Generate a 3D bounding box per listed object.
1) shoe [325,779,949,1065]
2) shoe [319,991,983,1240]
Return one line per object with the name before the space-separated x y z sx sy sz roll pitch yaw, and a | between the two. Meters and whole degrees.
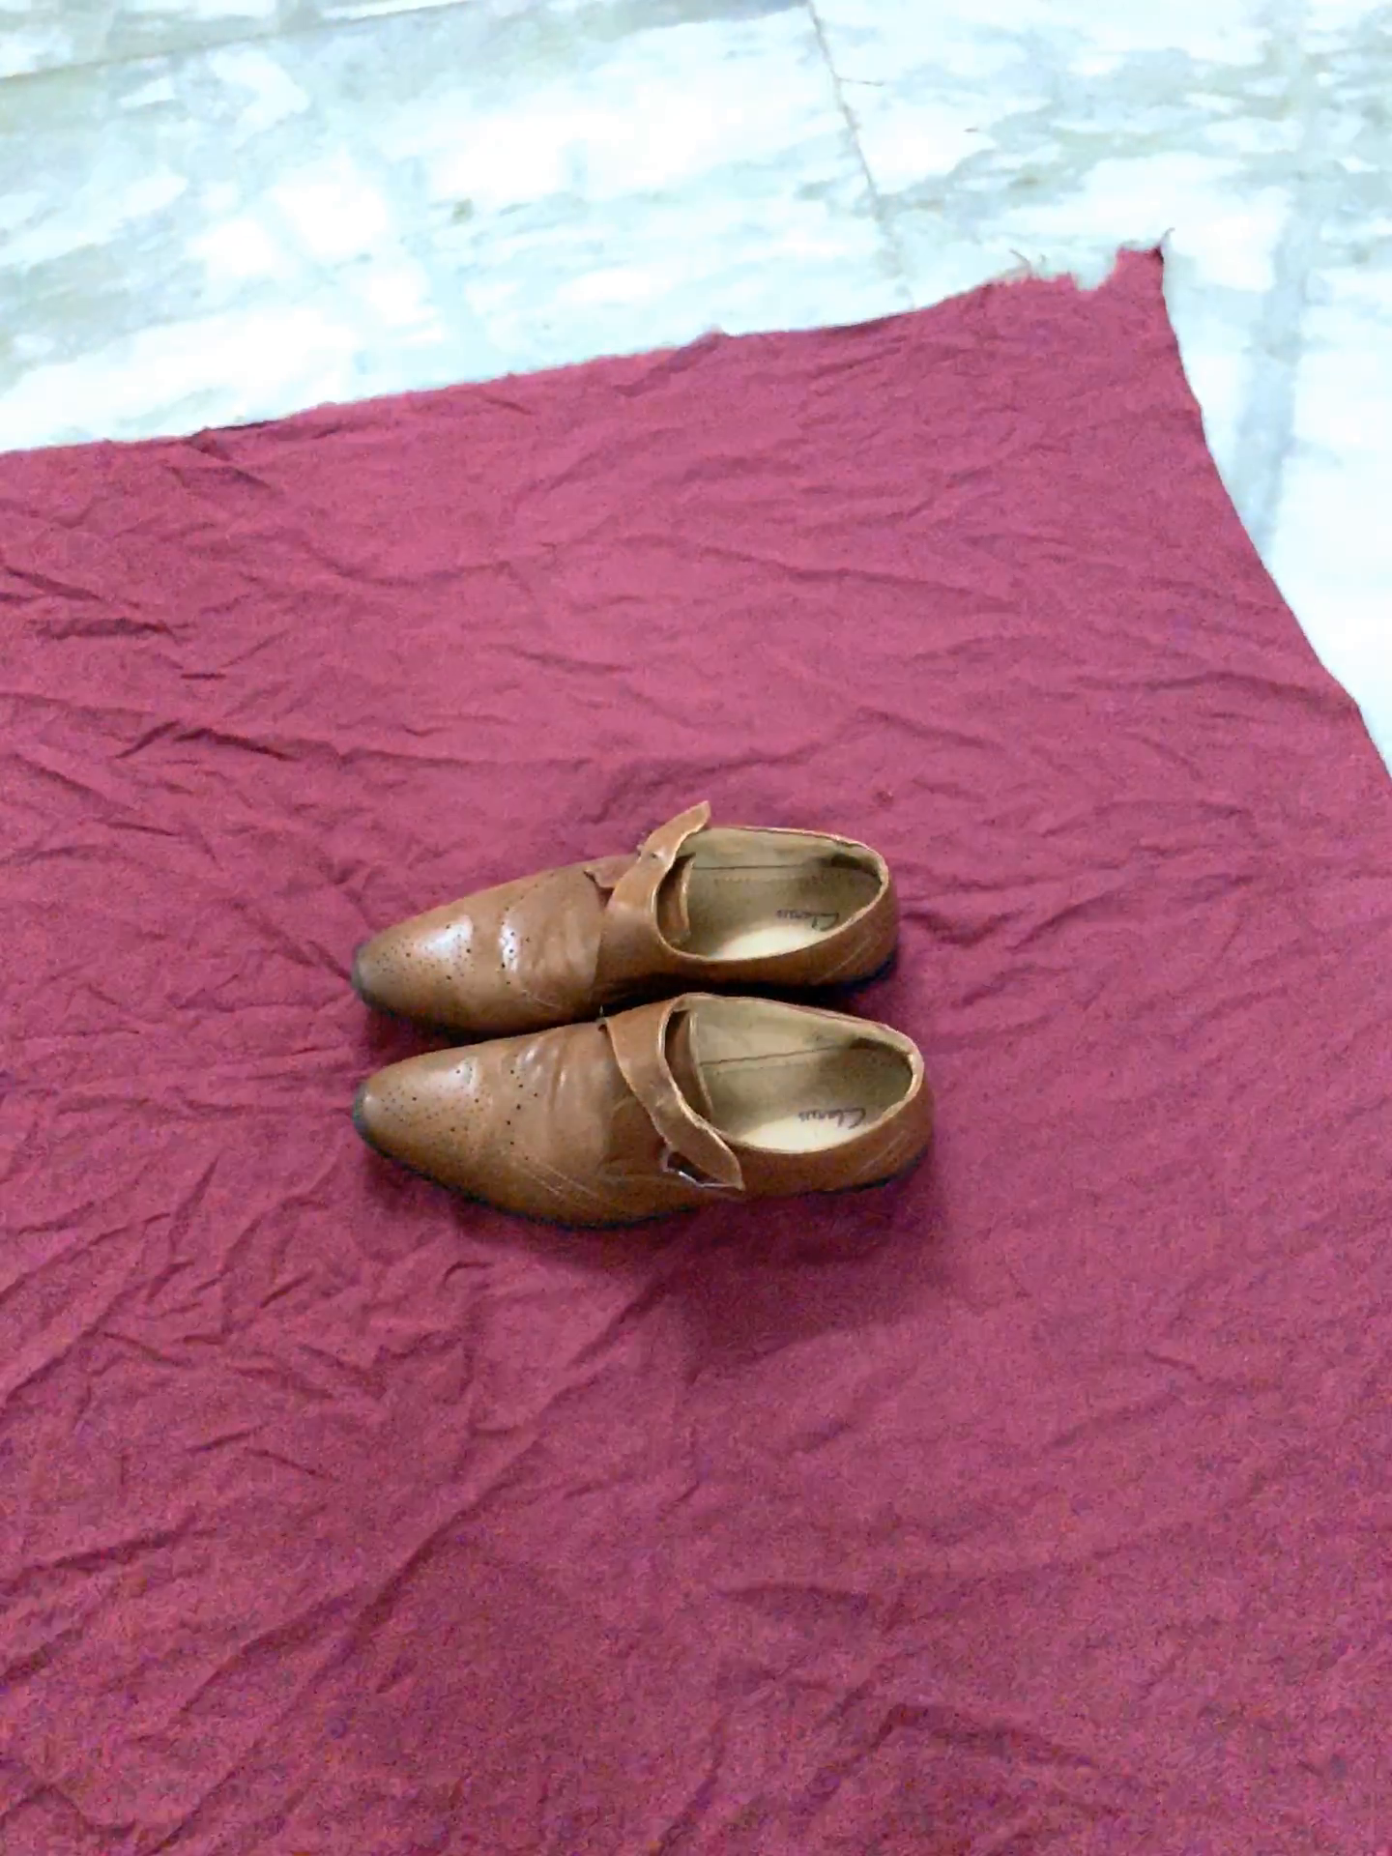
shoe | -0.030 -0.001 0.747 0.300 0.090 0.100 -4 65 1
shoe | -0.020 0.097 0.727 0.310 0.090 0.100 -1 65 3
